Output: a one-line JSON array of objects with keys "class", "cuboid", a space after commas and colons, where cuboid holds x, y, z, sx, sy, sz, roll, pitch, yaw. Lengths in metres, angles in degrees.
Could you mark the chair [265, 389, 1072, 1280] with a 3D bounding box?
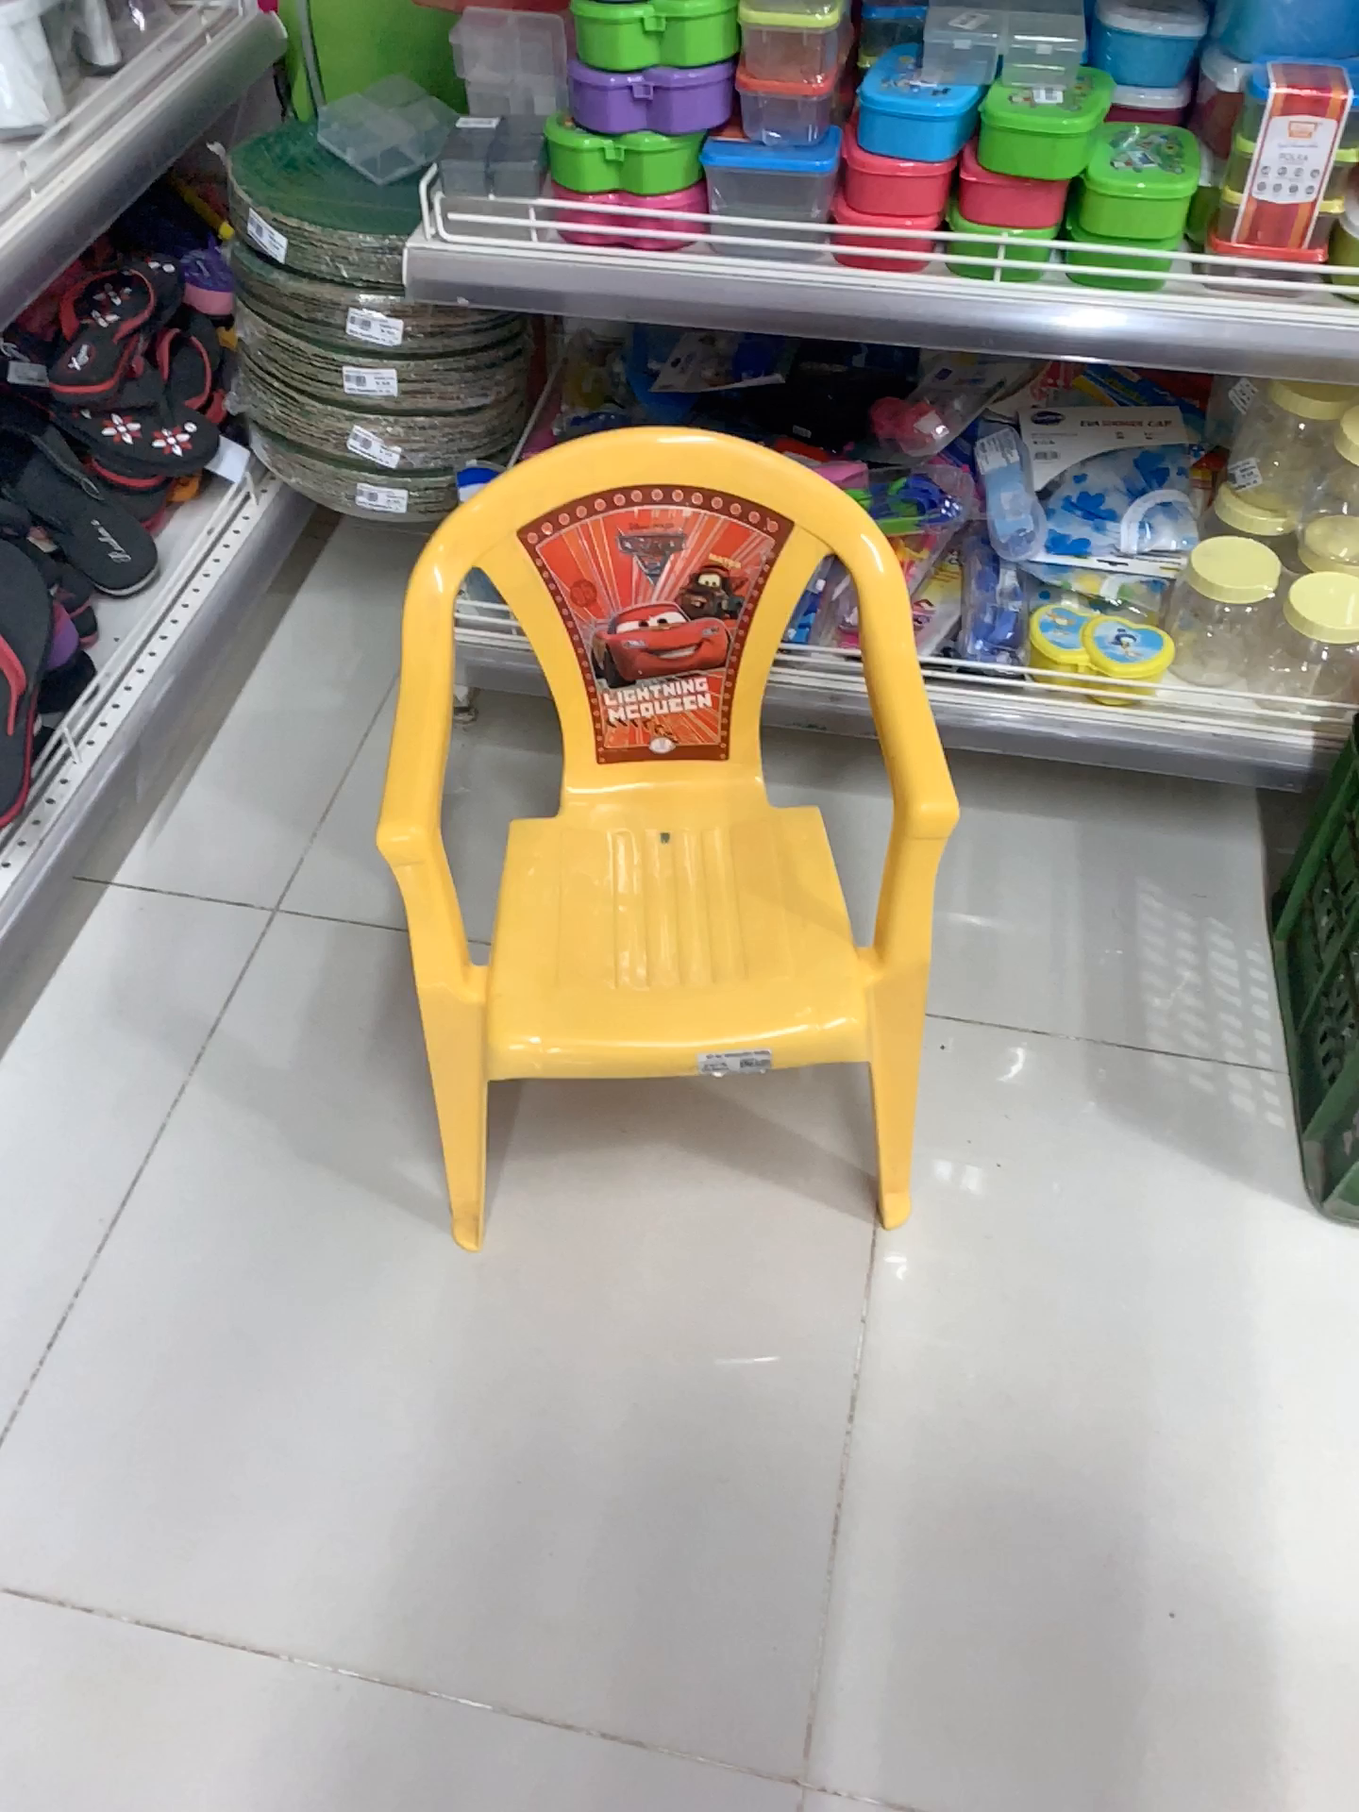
[{"class": "chair", "cuboid": [-0.007, -0.028, 0.978, 0.390, 0.499, 0.371, -3, 50, -1]}]
